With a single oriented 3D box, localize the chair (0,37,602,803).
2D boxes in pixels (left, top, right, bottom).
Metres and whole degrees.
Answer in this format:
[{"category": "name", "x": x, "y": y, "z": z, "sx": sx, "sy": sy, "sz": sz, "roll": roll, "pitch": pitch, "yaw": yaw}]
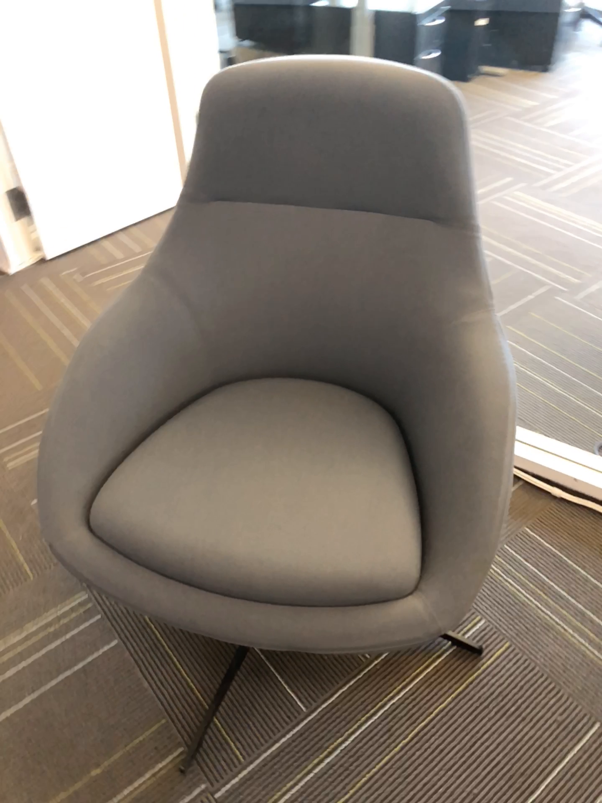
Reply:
[{"category": "chair", "x": -0.065, "y": 0.019, "z": 1.230, "sx": 0.931, "sy": 0.995, "sz": 0.964, "roll": 10, "pitch": 43, "yaw": 14}]
